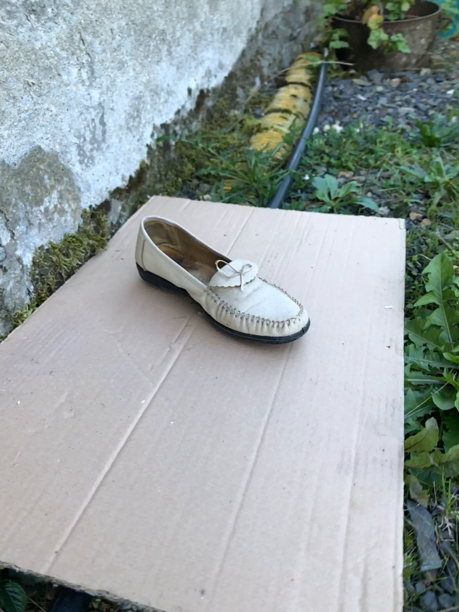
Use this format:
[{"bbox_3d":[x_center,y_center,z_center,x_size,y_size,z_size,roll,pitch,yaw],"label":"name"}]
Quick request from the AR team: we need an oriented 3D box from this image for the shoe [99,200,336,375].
[{"bbox_3d":[-0.019,-0.034,0.583,0.260,0.080,0.100,25,49,33],"label":"shoe"}]
